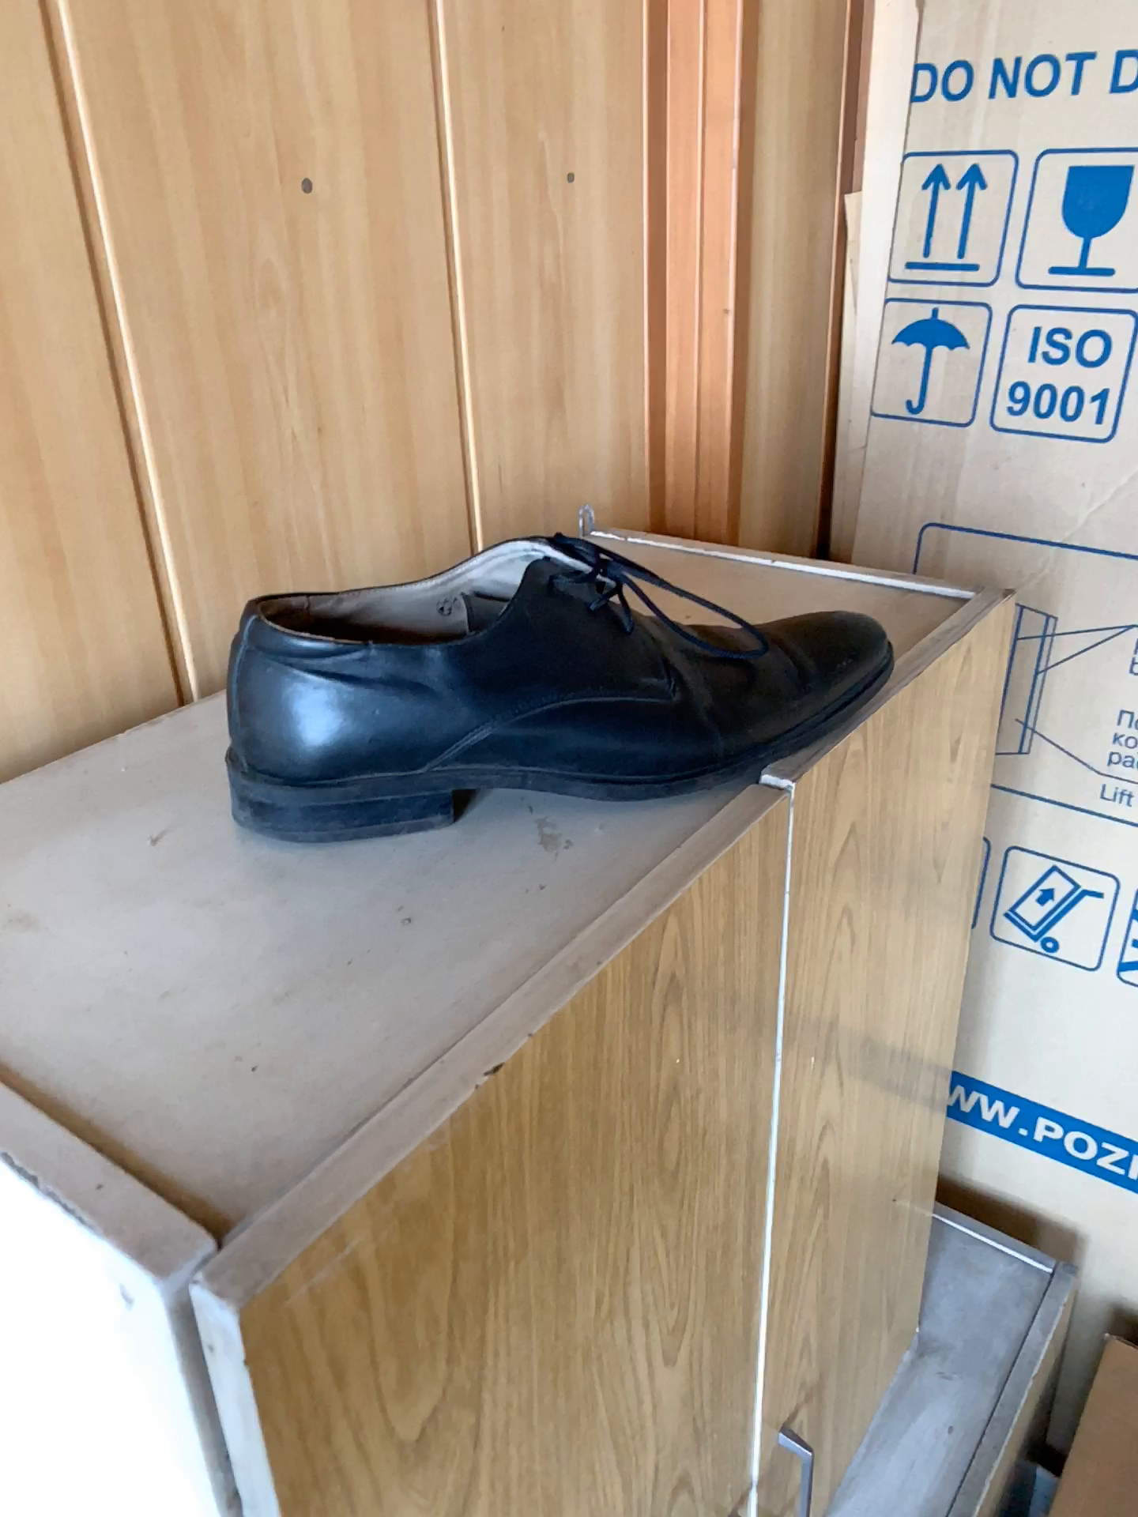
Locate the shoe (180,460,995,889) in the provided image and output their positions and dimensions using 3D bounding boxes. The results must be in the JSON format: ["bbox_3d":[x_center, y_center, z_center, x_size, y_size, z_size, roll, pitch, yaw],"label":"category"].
[{"bbox_3d":[0.003,-0.051,0.491,0.300,0.089,0.141,-11,28,-17],"label":"shoe"}]
